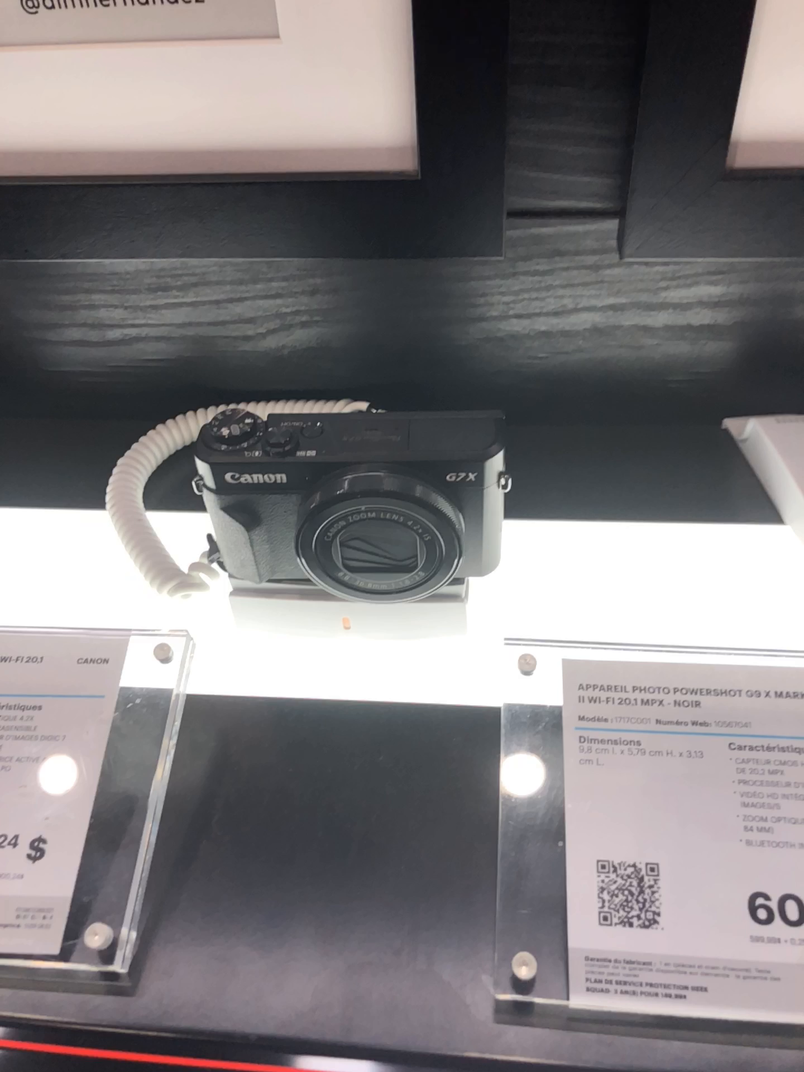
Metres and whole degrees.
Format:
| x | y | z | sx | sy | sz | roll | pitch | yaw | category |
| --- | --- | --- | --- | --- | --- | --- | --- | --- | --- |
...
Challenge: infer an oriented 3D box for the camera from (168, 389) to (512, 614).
| x | y | z | sx | sy | sz | roll | pitch | yaw | category |
| --- | --- | --- | --- | --- | --- | --- | --- | --- | --- |
| -0.018 | -0.010 | 0.320 | 0.110 | 0.079 | 0.030 | 0 | 43 | 4 | camera |
